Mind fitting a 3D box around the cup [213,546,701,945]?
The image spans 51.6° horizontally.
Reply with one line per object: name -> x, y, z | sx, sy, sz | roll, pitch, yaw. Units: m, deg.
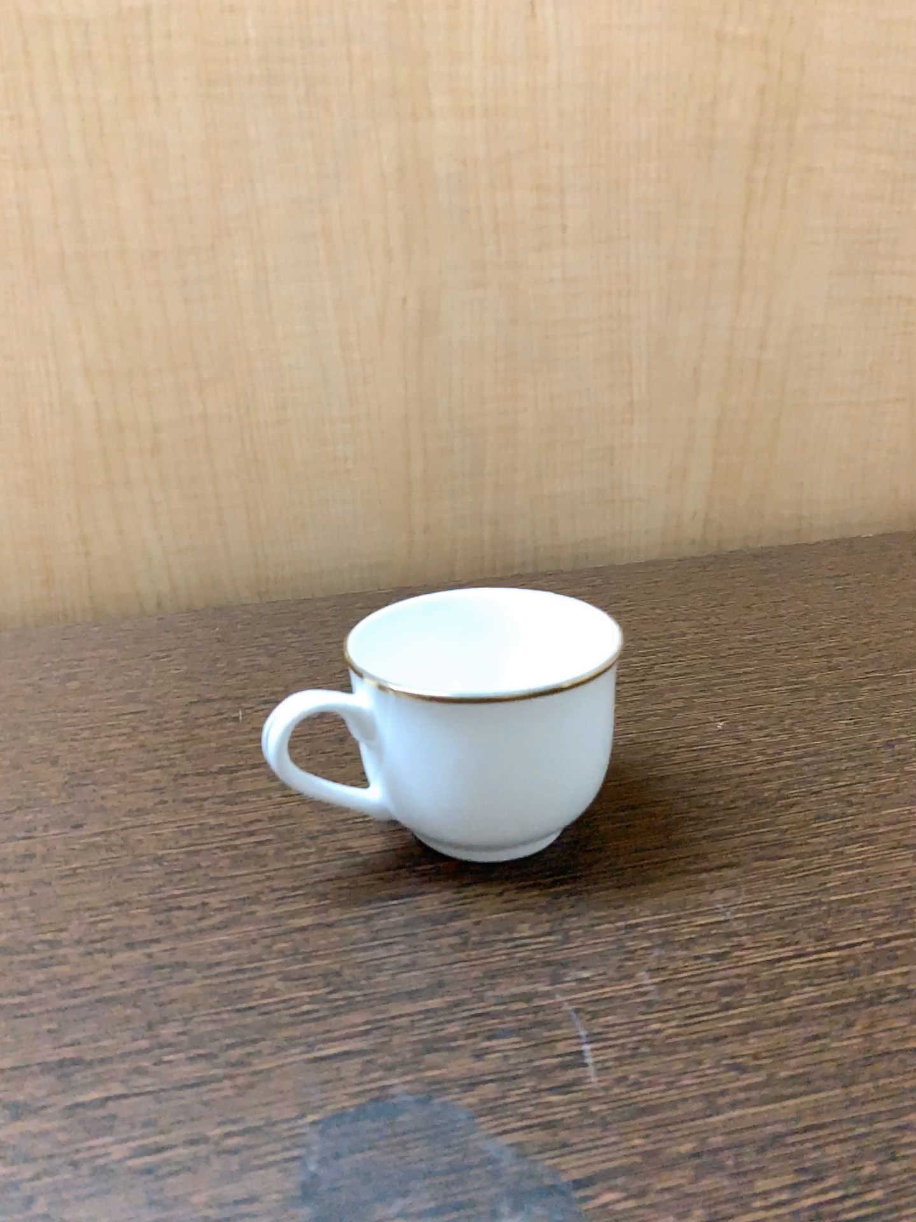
cup -> -0.002, 0.023, 0.216 | 0.090, 0.050, 0.060 | -11, 22, -23
